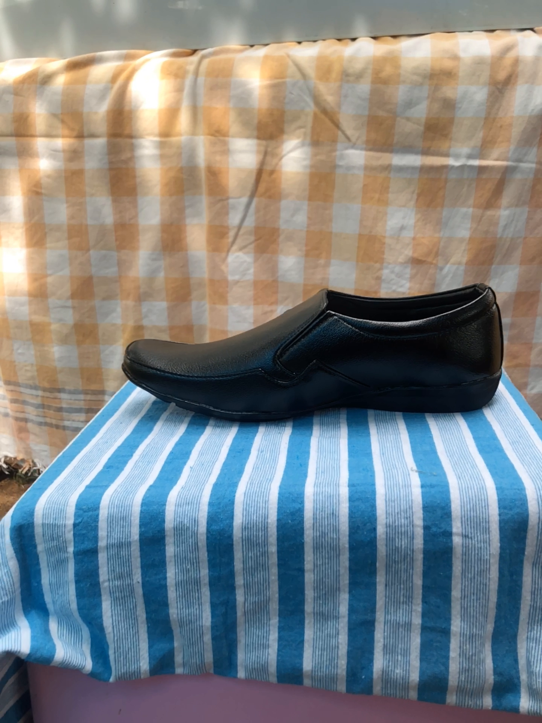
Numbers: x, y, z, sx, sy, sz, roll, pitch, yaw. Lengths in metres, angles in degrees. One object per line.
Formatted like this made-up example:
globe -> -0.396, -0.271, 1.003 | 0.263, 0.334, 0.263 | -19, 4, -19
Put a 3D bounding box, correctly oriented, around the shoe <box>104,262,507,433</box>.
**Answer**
shoe -> 0.027, -0.016, 0.510 | 0.300, 0.110, 0.100 | -2, 18, 0
